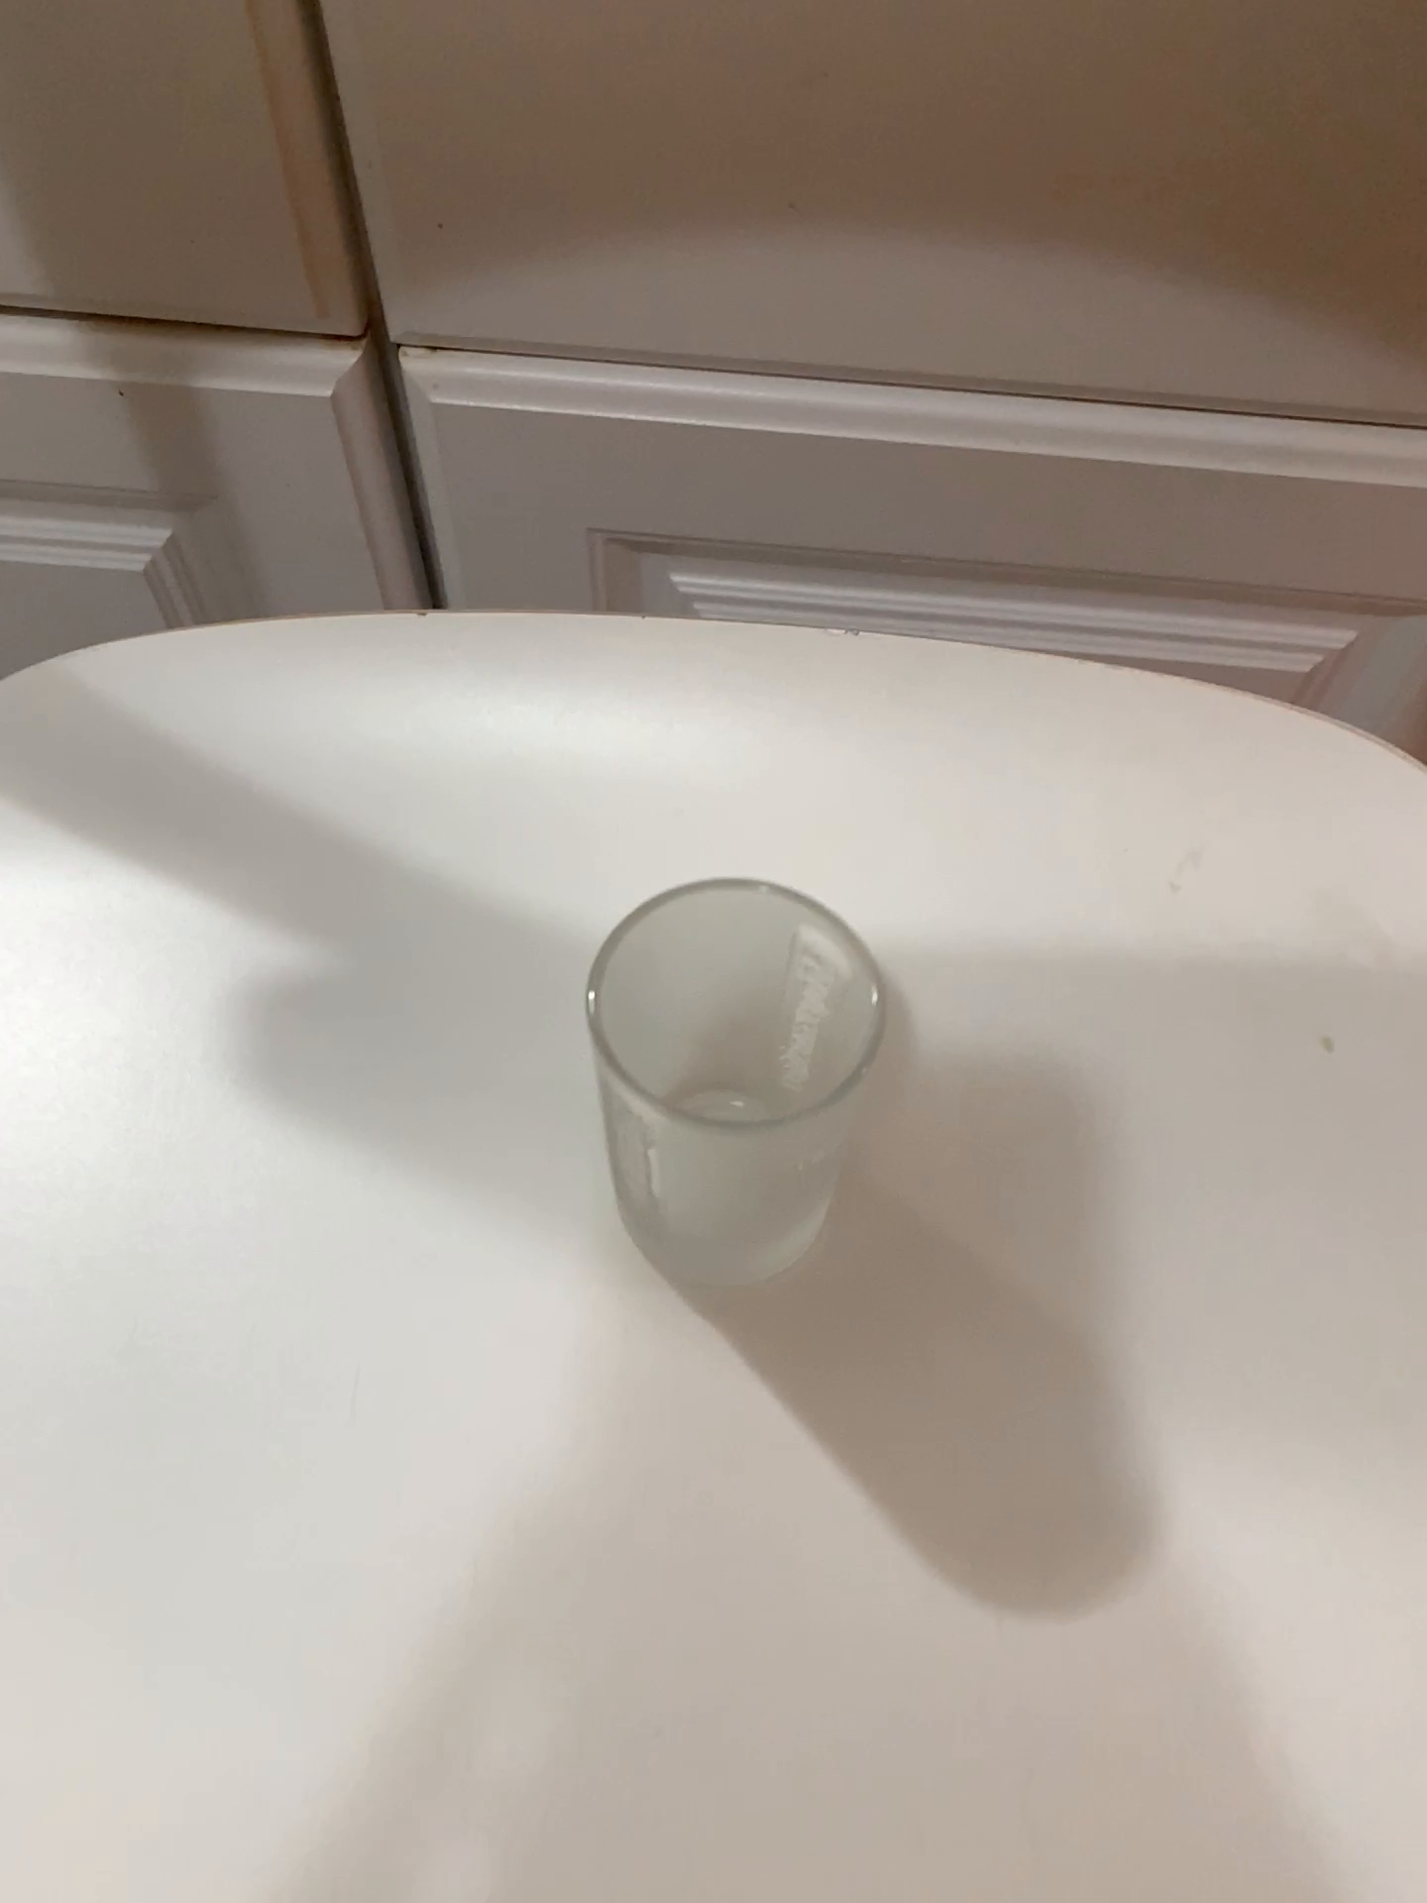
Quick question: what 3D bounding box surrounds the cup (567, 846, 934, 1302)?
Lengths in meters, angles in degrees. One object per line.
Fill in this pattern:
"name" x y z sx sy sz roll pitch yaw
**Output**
"cup" 0.006 0.023 0.240 0.049 0.076 0.042 3 59 1
